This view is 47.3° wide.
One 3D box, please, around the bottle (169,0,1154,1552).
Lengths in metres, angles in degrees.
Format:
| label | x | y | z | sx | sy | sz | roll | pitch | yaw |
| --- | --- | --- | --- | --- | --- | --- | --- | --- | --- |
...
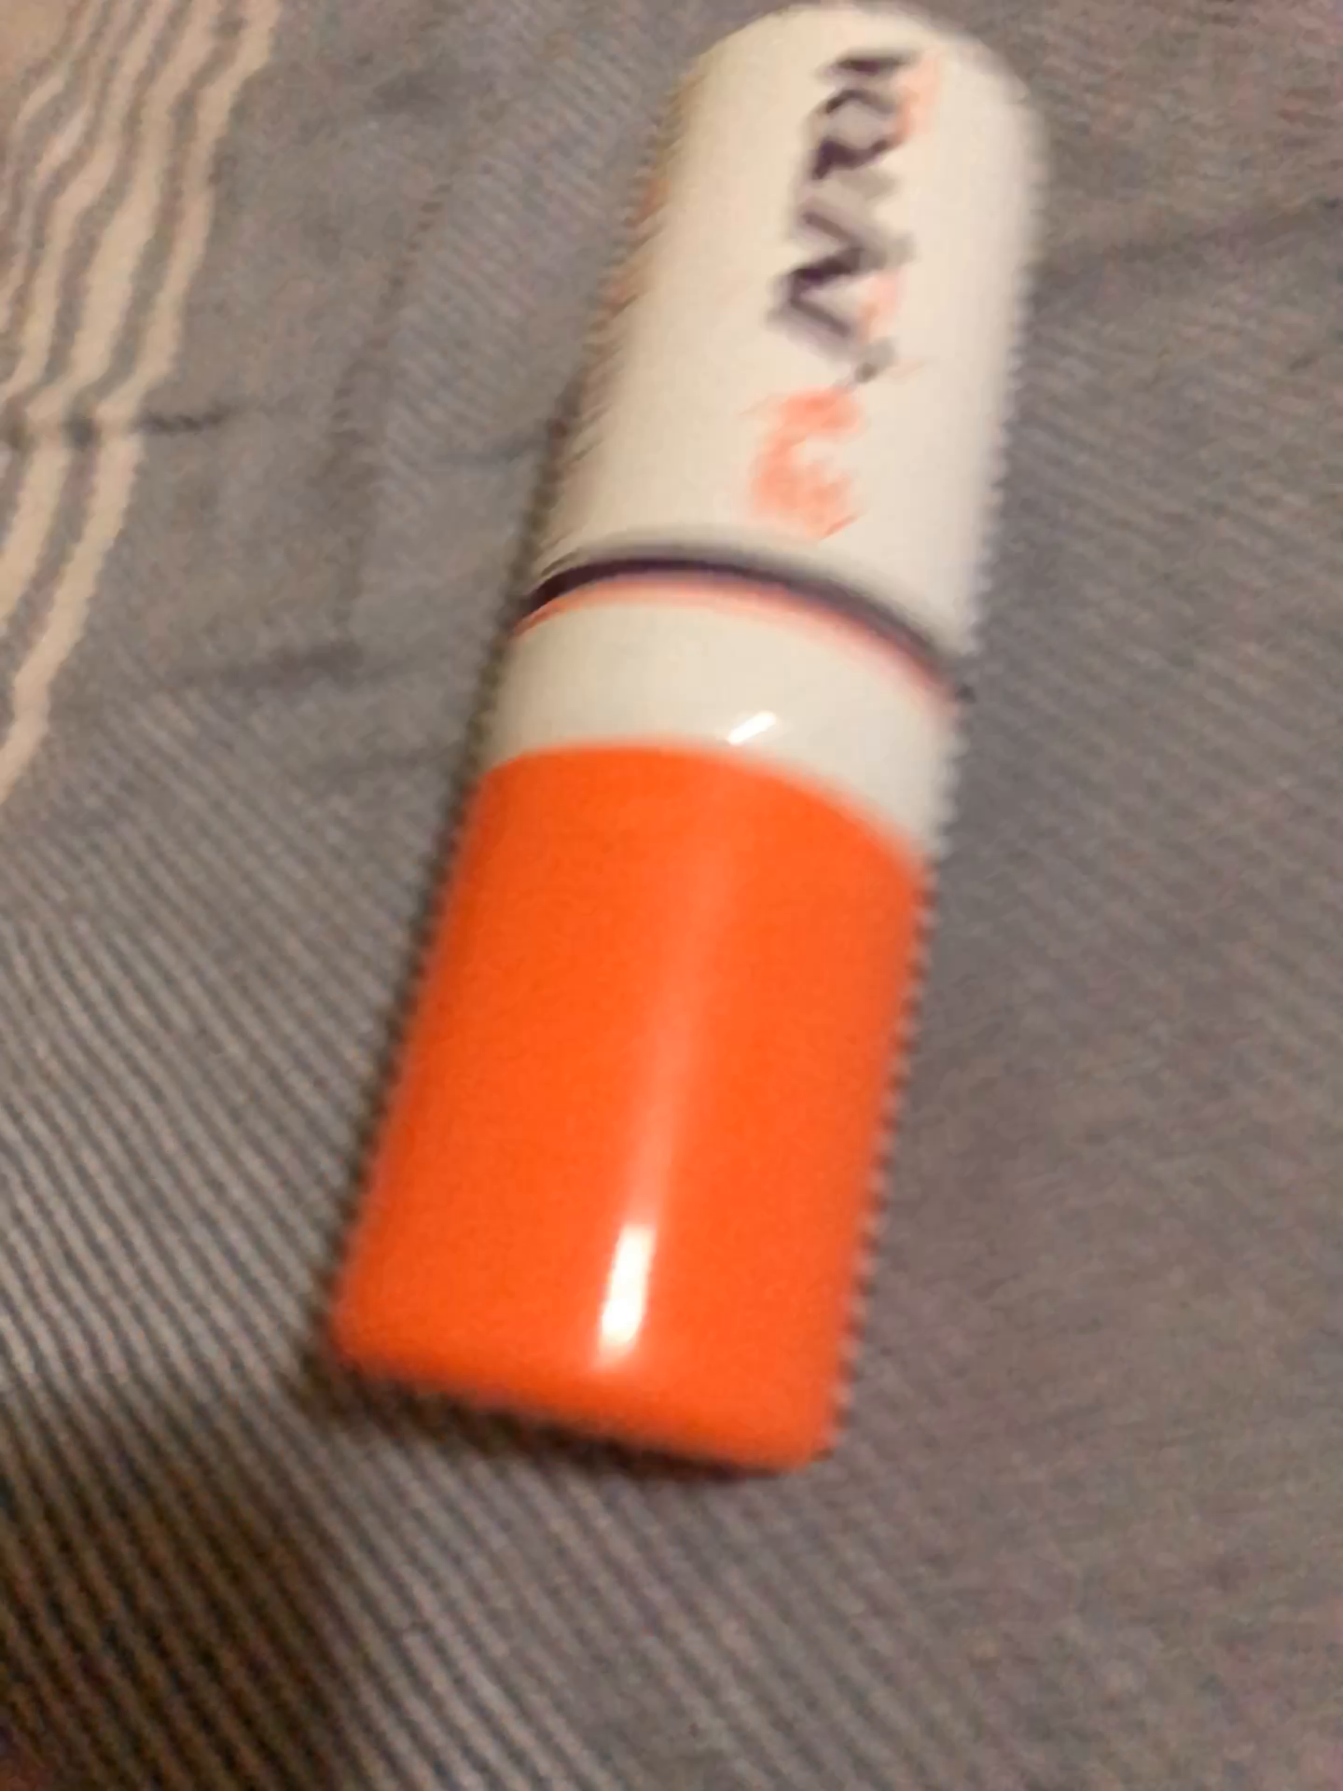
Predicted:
| label | x | y | z | sx | sy | sz | roll | pitch | yaw |
| --- | --- | --- | --- | --- | --- | --- | --- | --- | --- |
| bottle | 0.004 | -0.019 | 0.117 | 0.040 | 0.040 | 0.120 | 14 | 68 | -4 |
